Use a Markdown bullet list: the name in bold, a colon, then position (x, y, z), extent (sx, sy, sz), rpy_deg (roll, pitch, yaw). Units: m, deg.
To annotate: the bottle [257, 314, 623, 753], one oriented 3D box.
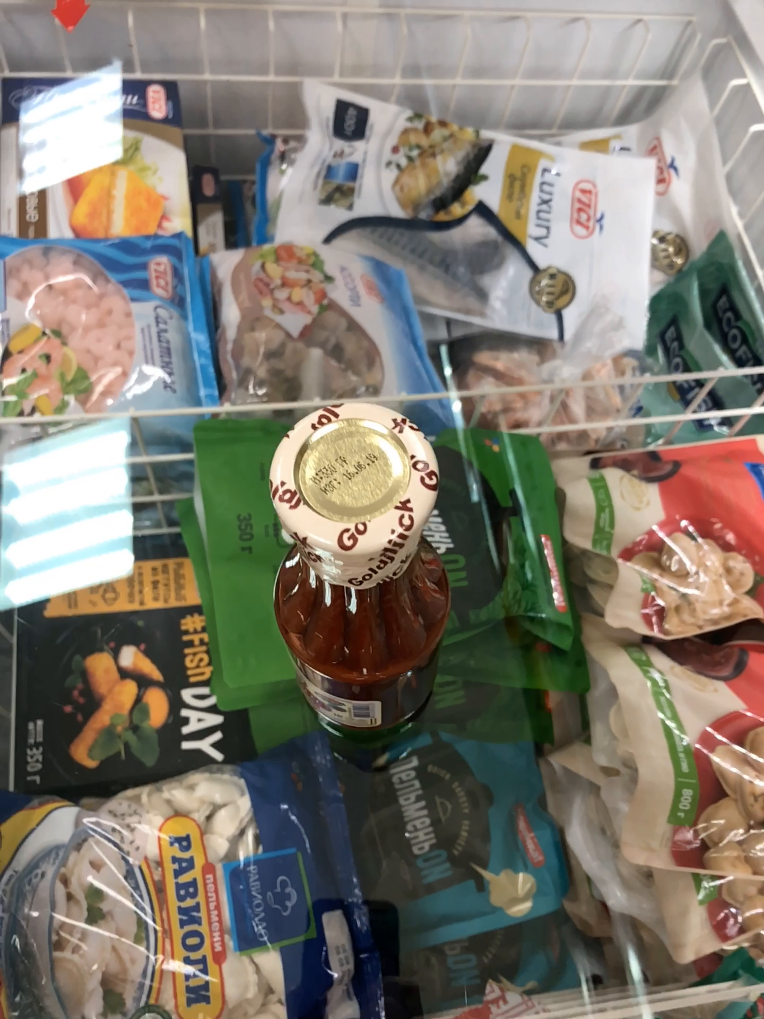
- **bottle**: position (0.008, 0.024, 0.300), extent (0.080, 0.179, 0.080), rpy_deg (1, 65, -2)
